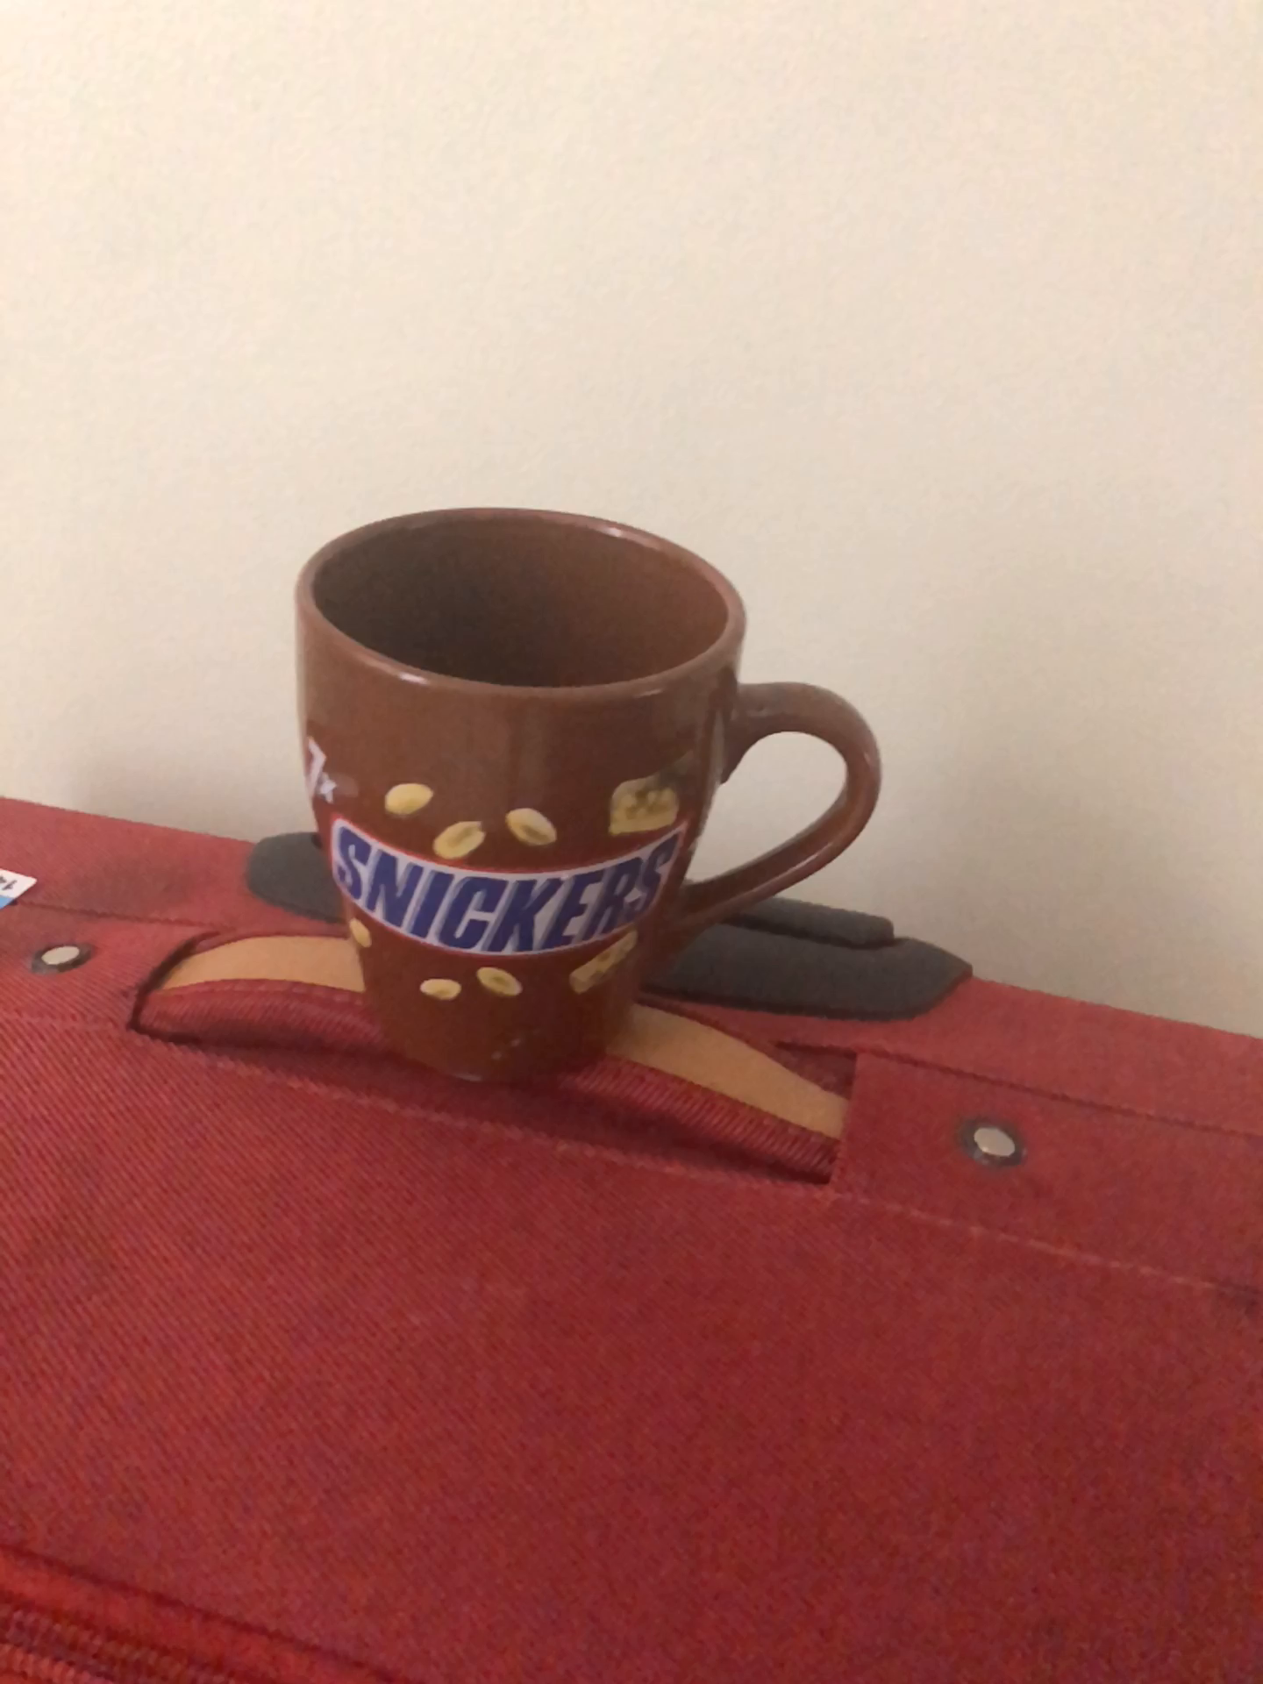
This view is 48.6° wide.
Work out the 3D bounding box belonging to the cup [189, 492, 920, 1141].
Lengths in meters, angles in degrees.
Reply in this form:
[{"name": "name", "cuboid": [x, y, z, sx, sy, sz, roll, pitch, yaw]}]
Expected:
[{"name": "cup", "cuboid": [-0.008, -0.010, 0.272, 0.115, 0.080, 0.088, 7, 33, 7]}]
